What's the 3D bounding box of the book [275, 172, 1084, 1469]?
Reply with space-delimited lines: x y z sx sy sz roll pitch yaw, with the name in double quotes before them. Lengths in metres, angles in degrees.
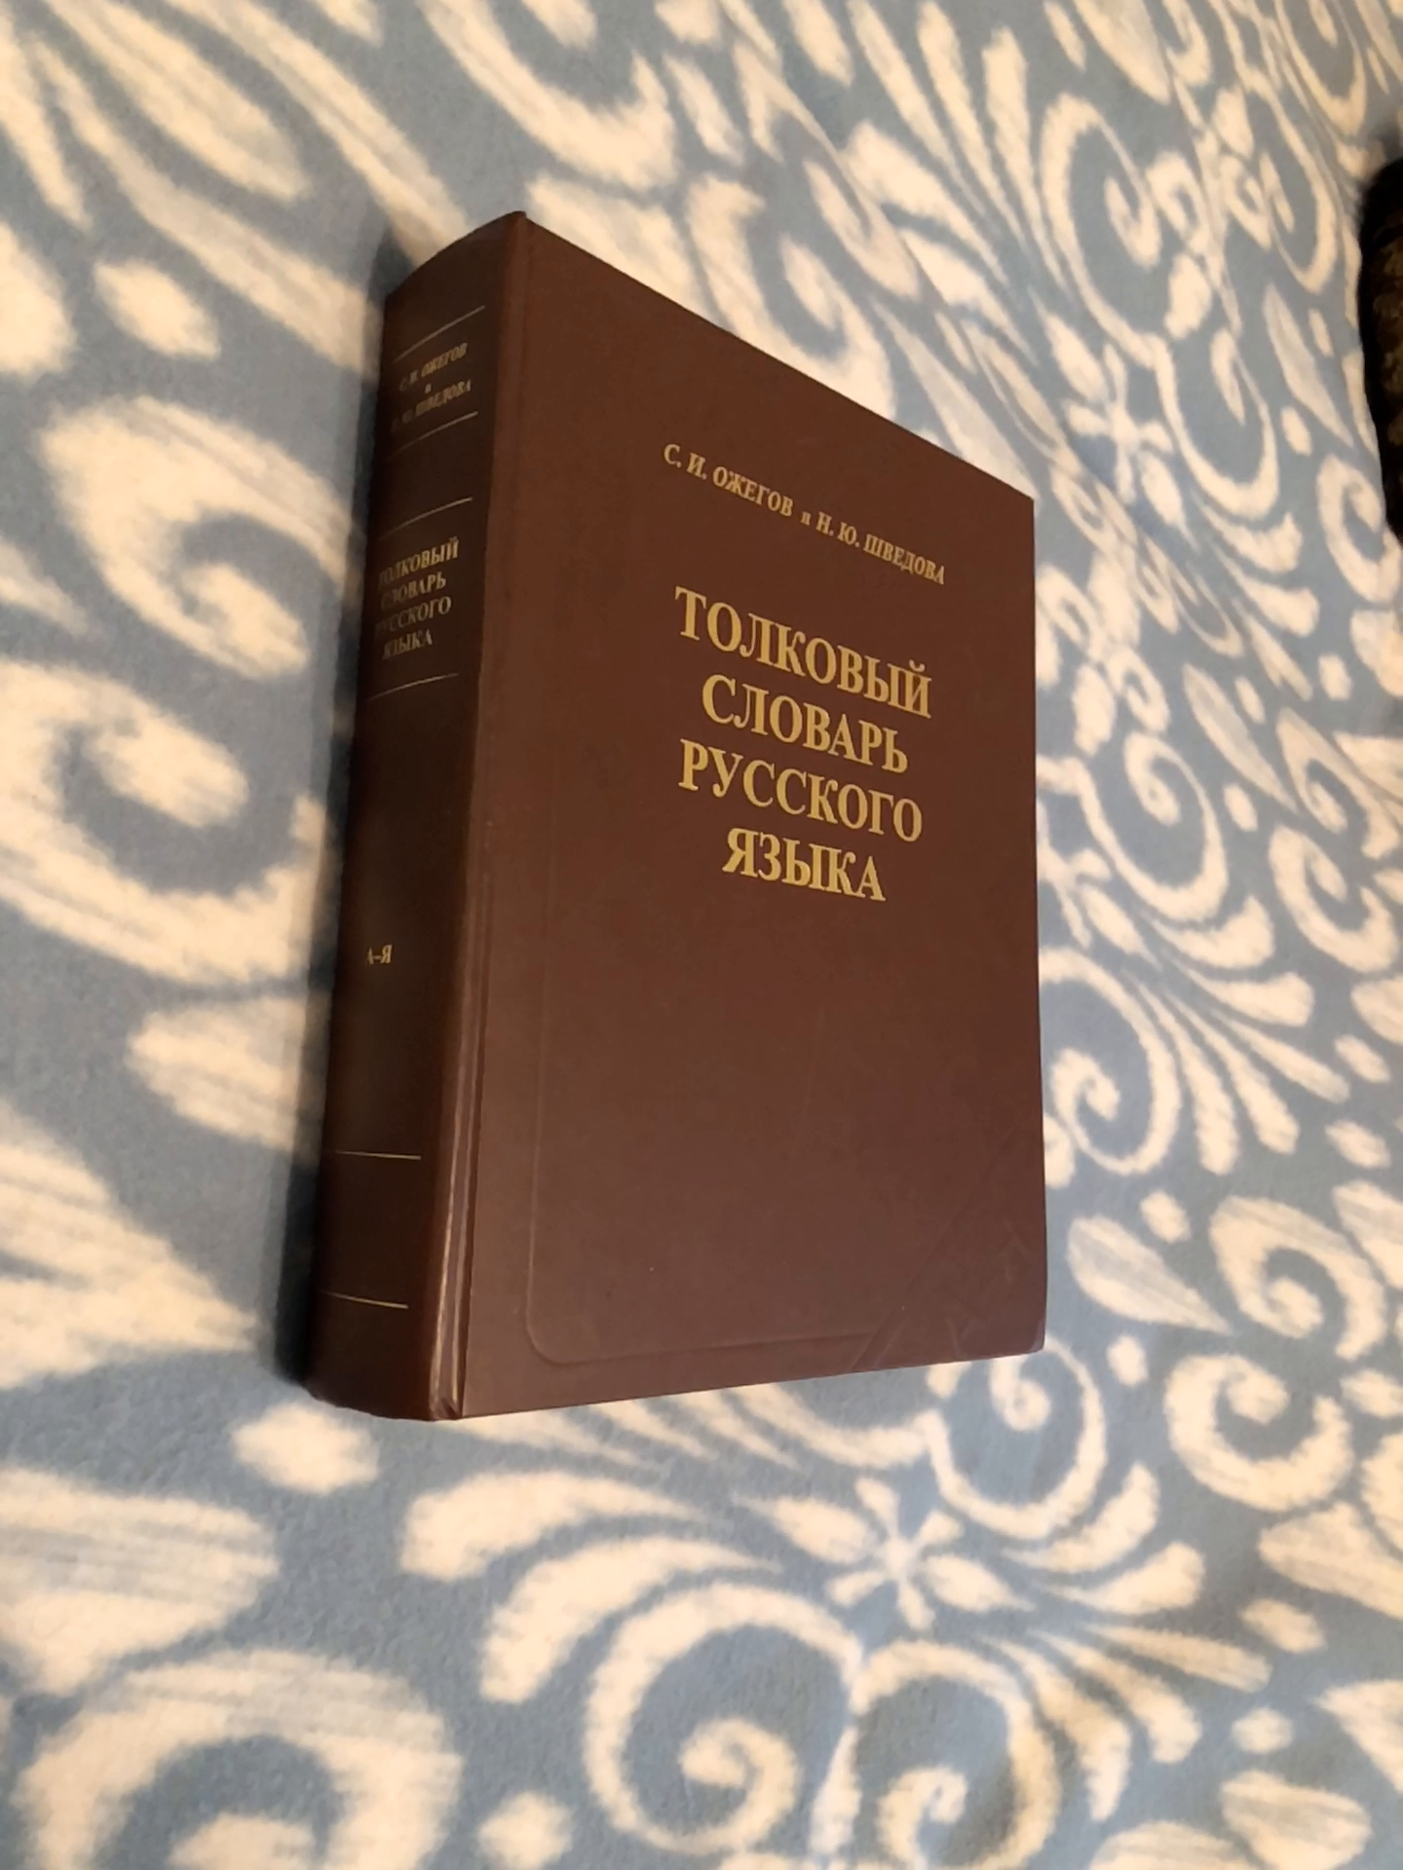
"book" 0.013 -0.015 0.416 0.221 0.067 0.270 10 79 -44
